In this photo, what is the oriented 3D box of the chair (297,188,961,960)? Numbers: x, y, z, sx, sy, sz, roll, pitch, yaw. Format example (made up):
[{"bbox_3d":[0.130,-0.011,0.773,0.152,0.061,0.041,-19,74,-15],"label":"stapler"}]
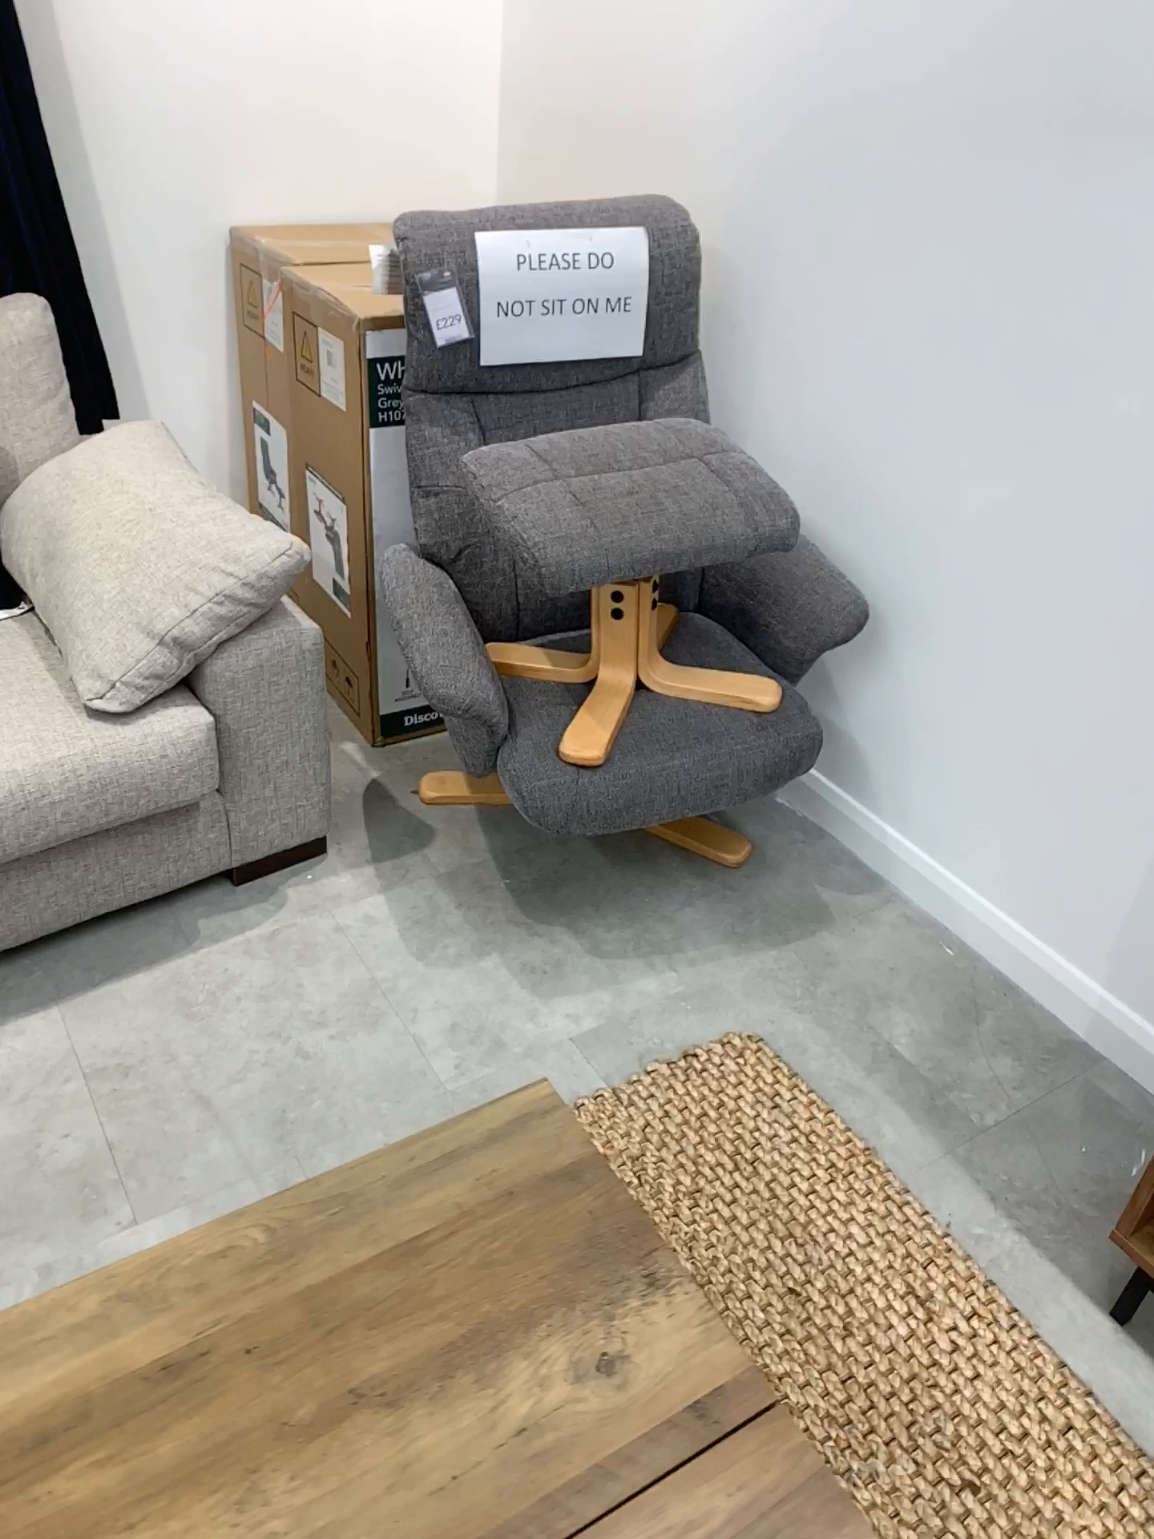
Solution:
[{"bbox_3d":[0.007,-0.371,1.969,0.703,0.975,0.725,-12,37,-24],"label":"chair"}]

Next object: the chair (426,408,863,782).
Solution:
[{"bbox_3d":[0.073,-0.302,1.852,0.482,0.351,0.483,-12,37,-24],"label":"chair"}]
